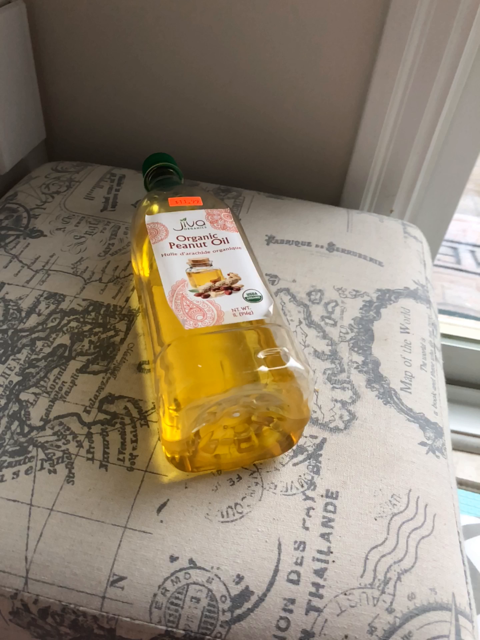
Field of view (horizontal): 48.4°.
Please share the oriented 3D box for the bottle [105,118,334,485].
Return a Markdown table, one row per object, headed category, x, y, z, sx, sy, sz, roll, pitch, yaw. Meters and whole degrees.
| category | x | y | z | sx | sy | sz | roll | pitch | yaw |
| --- | --- | --- | --- | --- | --- | --- | --- | --- | --- |
| bottle | -0.034 | -0.038 | 0.352 | 0.080 | 0.070 | 0.271 | -6 | 46 | -15 |
